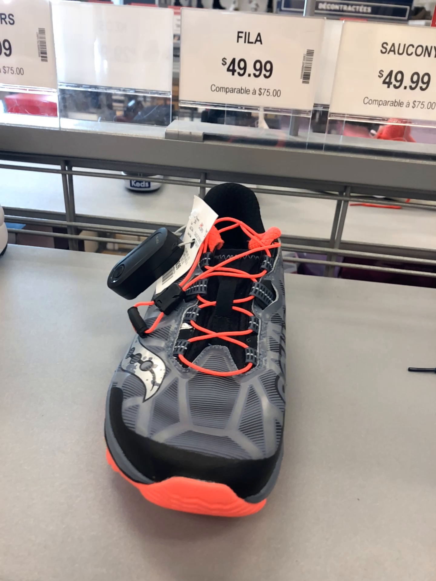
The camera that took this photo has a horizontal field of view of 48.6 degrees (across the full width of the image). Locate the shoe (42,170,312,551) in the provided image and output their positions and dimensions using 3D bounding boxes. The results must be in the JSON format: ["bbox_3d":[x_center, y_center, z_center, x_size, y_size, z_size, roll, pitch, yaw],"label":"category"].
[{"bbox_3d":[-0.009,0.009,0.349,0.110,0.109,0.292,5,29,2],"label":"shoe"}]
